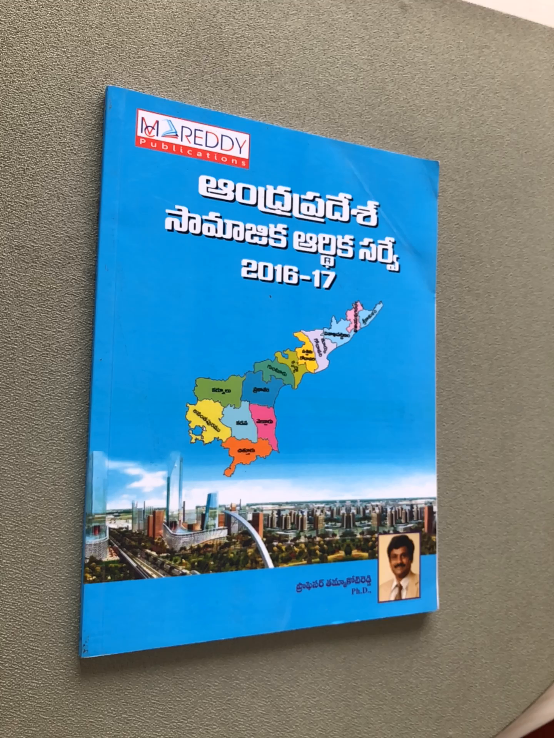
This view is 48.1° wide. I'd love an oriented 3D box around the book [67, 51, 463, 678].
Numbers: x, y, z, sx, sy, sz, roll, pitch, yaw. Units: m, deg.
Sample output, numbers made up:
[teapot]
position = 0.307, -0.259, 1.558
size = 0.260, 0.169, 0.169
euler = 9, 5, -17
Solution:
[book]
position = 0.007, -0.001, 0.283
size = 0.180, 0.020, 0.240
euler = 4, 85, -25
